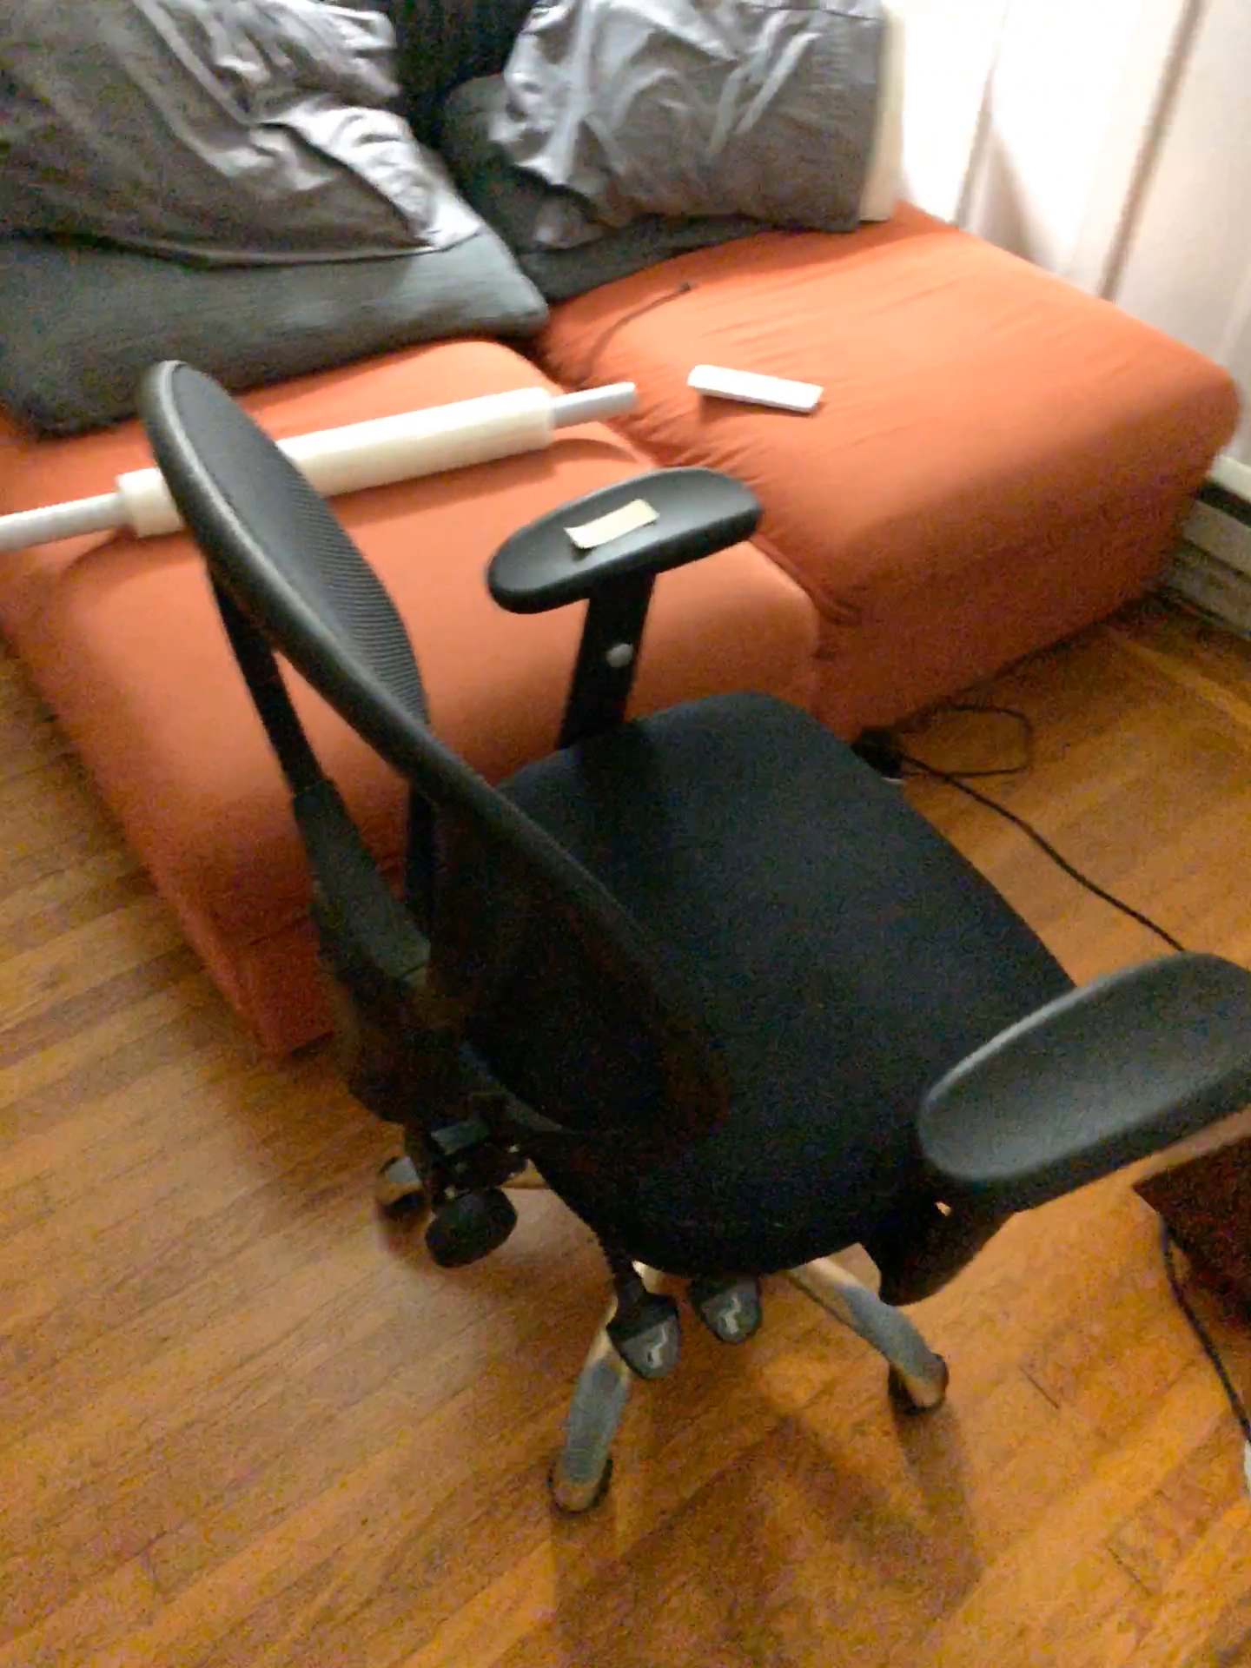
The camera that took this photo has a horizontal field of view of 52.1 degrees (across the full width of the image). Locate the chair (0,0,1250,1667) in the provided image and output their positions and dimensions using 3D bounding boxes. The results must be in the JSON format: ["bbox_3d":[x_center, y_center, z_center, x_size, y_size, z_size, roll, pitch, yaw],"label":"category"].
[{"bbox_3d":[0.009,0.056,0.984,0.660,0.975,0.643,-20,51,-14],"label":"chair"}]
